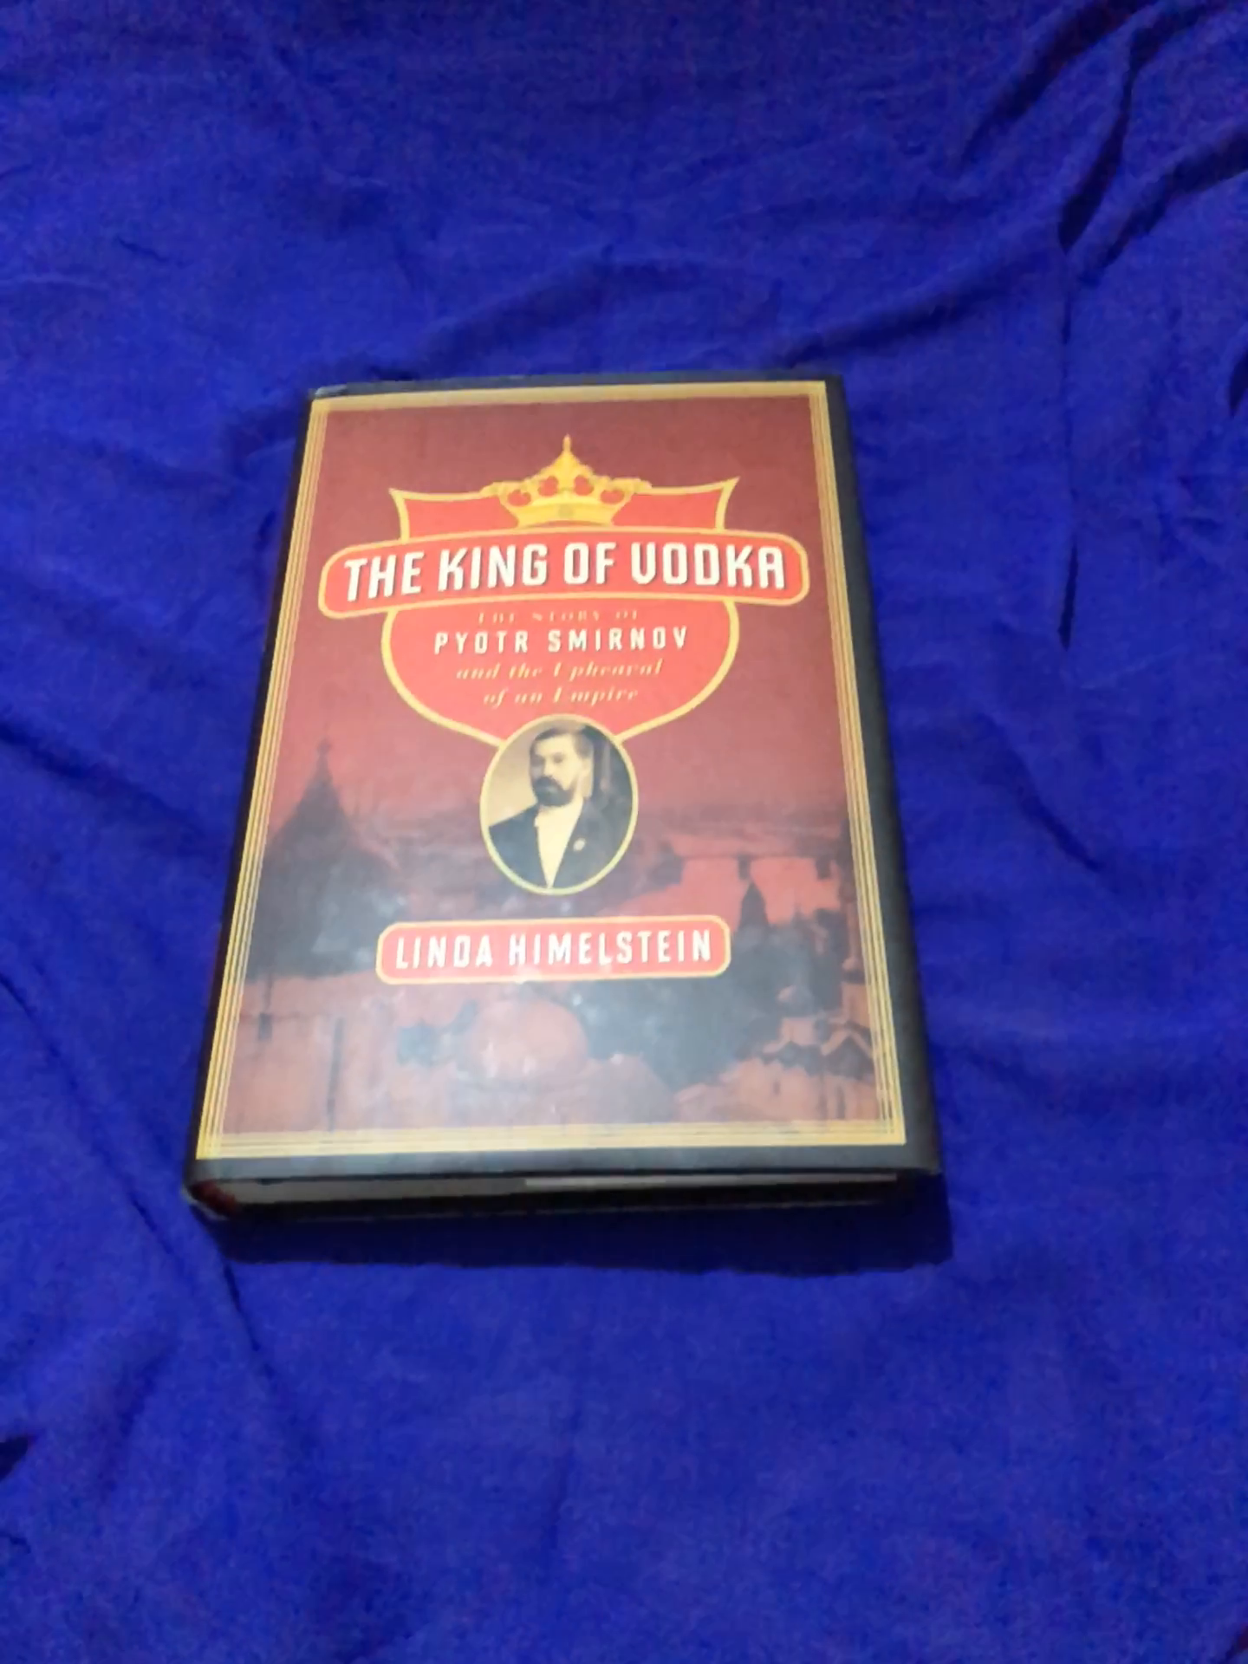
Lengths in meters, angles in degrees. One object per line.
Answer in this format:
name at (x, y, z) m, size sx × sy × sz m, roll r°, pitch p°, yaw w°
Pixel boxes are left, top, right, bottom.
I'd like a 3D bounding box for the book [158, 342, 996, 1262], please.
book at (-0.012, -0.022, 0.369) m, size 0.170 × 0.050 × 0.251 m, roll -2°, pitch 59°, yaw 1°
